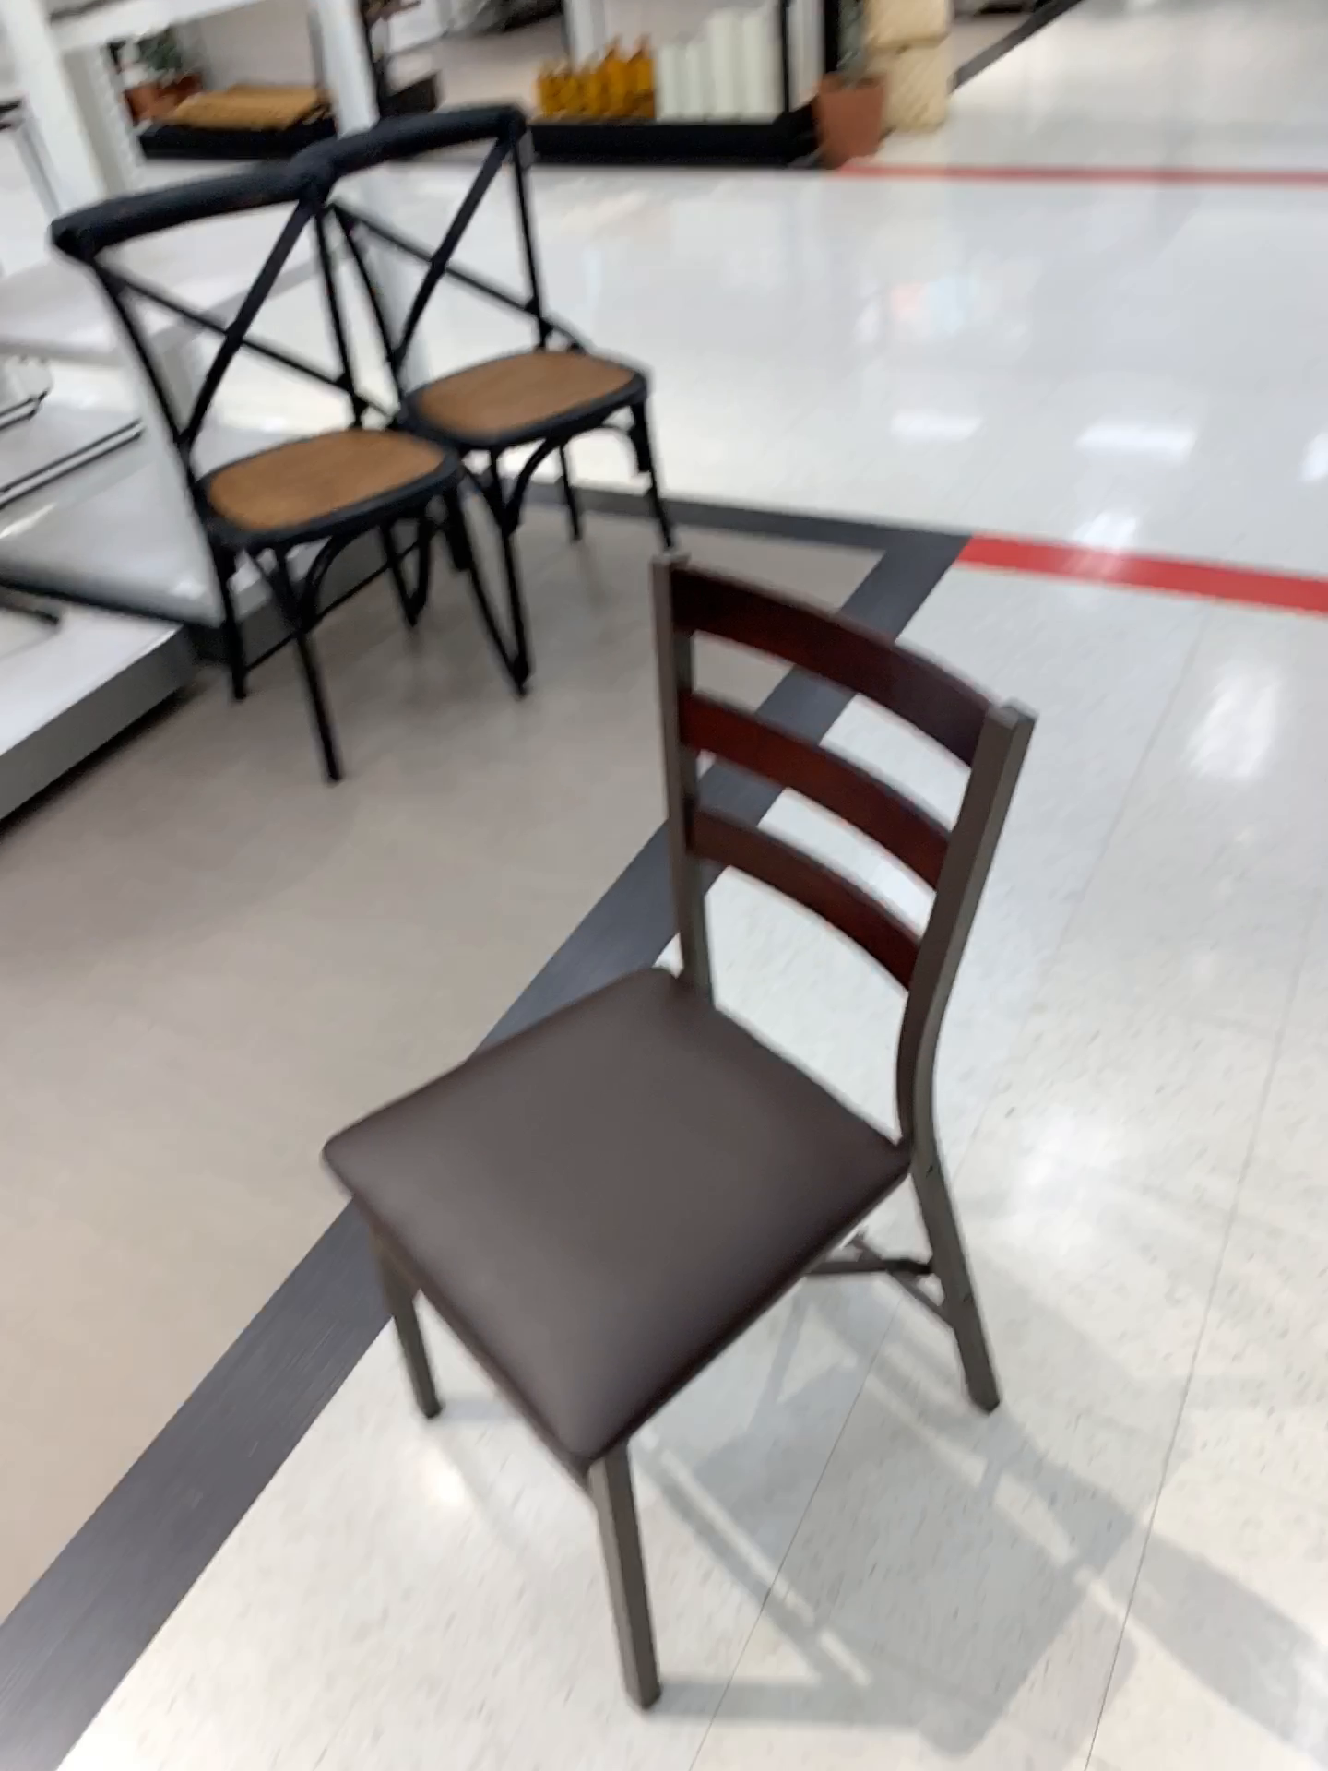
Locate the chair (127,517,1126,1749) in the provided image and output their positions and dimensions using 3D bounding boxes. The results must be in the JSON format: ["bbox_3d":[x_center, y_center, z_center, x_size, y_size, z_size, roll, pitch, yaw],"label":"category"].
[{"bbox_3d":[0.009,0.219,1.179,0.521,0.826,0.442,-31,45,-25],"label":"chair"}]
